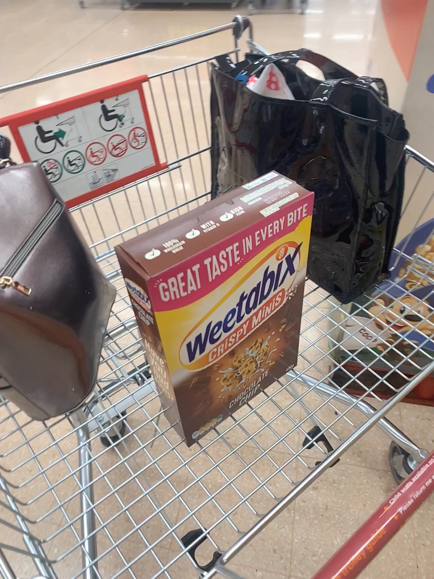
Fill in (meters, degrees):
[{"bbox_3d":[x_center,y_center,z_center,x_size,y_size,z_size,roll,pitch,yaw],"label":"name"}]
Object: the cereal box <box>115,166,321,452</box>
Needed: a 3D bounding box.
[{"bbox_3d":[0.013,0.033,0.491,0.191,0.277,0.060,-30,49,-26],"label":"cereal box"}]
